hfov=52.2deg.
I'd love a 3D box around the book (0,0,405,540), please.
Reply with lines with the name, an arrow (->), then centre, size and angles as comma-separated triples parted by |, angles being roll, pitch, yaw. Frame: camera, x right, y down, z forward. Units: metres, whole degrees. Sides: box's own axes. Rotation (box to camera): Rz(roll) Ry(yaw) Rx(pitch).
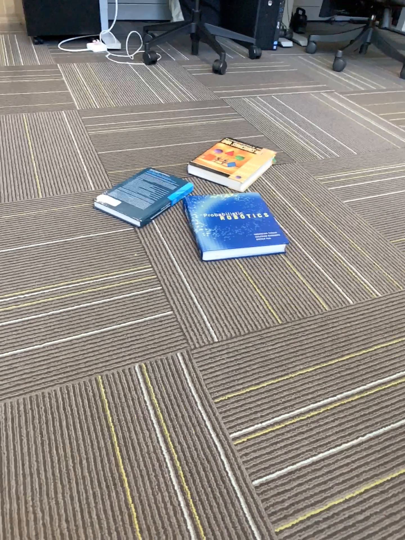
book -> 0.097, -0.334, 1.288 | 0.031, 1.492, 6.524 | 24, 44, 21

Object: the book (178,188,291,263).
book -> 0.068, -0.119, 1.020 | 0.210, 0.030, 0.251 | -7, 42, -14

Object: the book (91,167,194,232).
book -> -0.153, -0.197, 1.104 | 0.160, 0.030, 0.231 | 25, 44, 22

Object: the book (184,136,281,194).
book -> 0.097, -0.334, 1.288 | 0.200, 0.030, 0.261 | 24, 44, 21
